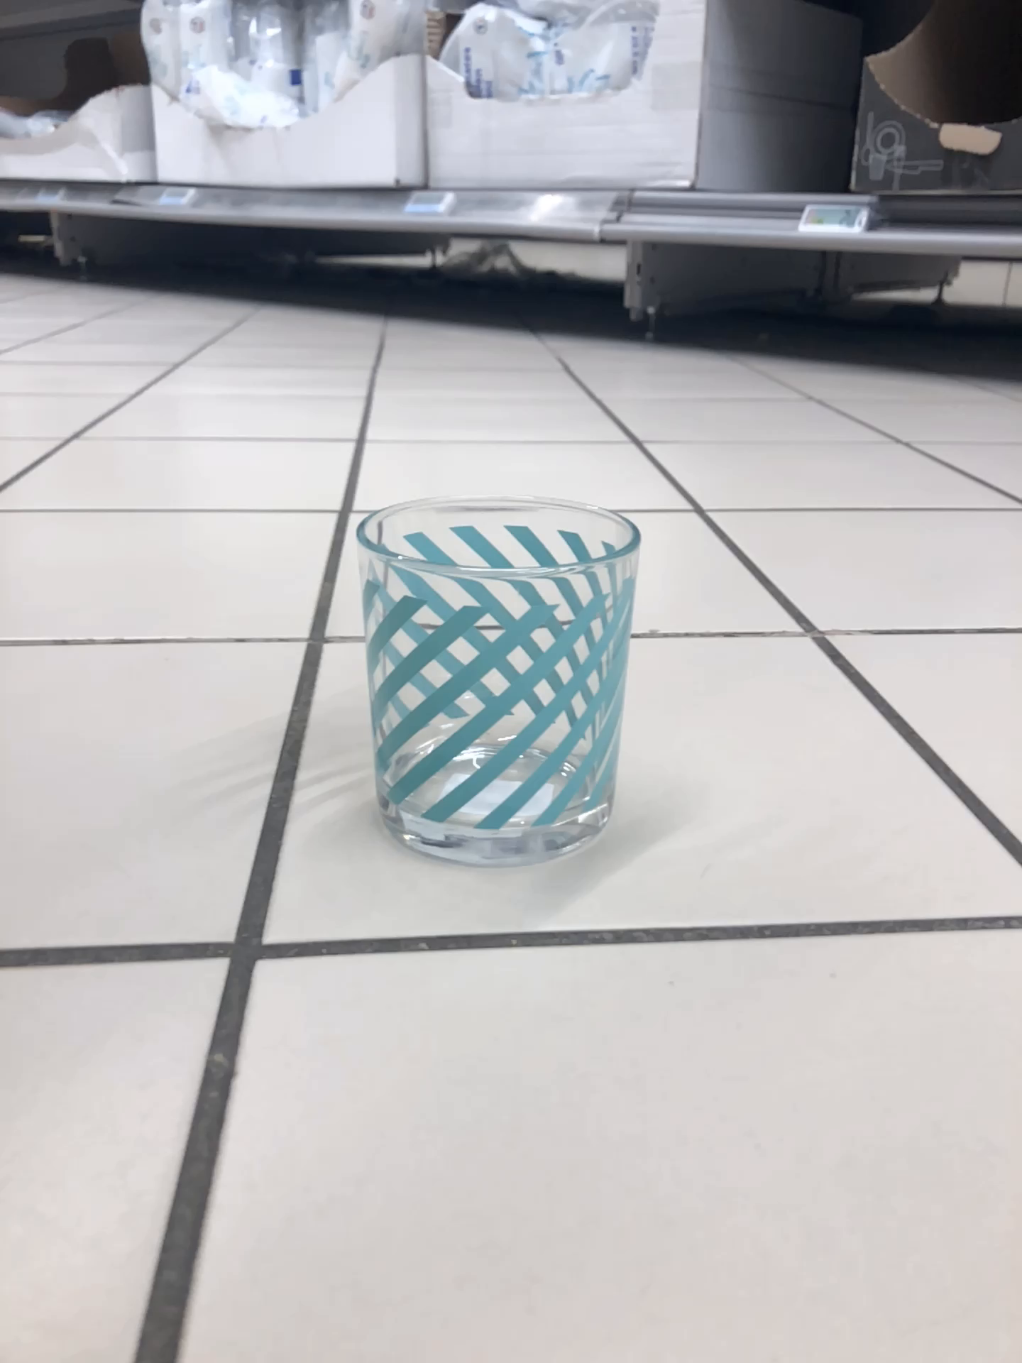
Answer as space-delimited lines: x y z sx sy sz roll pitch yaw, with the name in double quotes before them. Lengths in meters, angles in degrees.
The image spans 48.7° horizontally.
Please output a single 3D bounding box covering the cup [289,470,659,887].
"cup" -0.005 -0.006 0.300 0.075 0.080 0.080 0 22 0
